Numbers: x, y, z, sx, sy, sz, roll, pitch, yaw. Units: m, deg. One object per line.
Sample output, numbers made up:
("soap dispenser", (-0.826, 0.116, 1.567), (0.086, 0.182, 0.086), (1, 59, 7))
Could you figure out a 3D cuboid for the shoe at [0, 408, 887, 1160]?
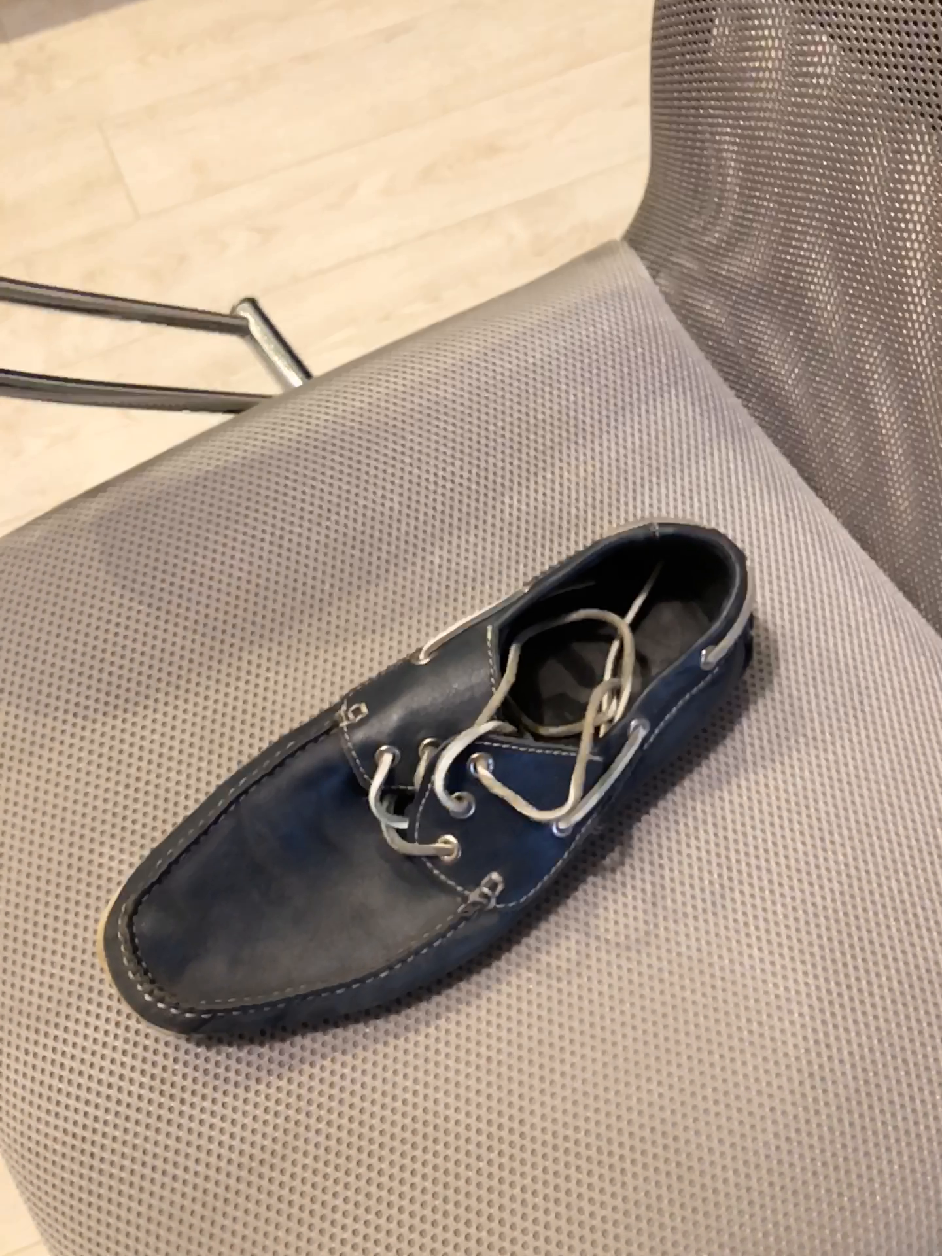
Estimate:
("shoe", (-0.005, 0.055, 0.407), (0.290, 0.100, 0.120), (-33, 72, -12))
